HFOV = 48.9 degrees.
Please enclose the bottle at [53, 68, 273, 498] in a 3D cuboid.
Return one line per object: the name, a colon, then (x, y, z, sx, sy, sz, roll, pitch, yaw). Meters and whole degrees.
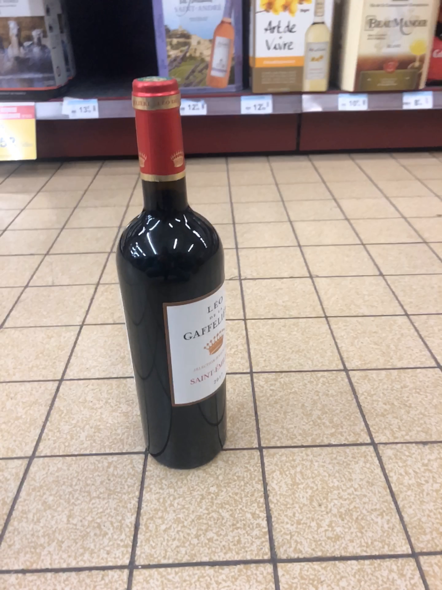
bottle: (-0.031, -0.001, 0.355, 0.090, 0.287, 0.090, -1, 30, 0)
